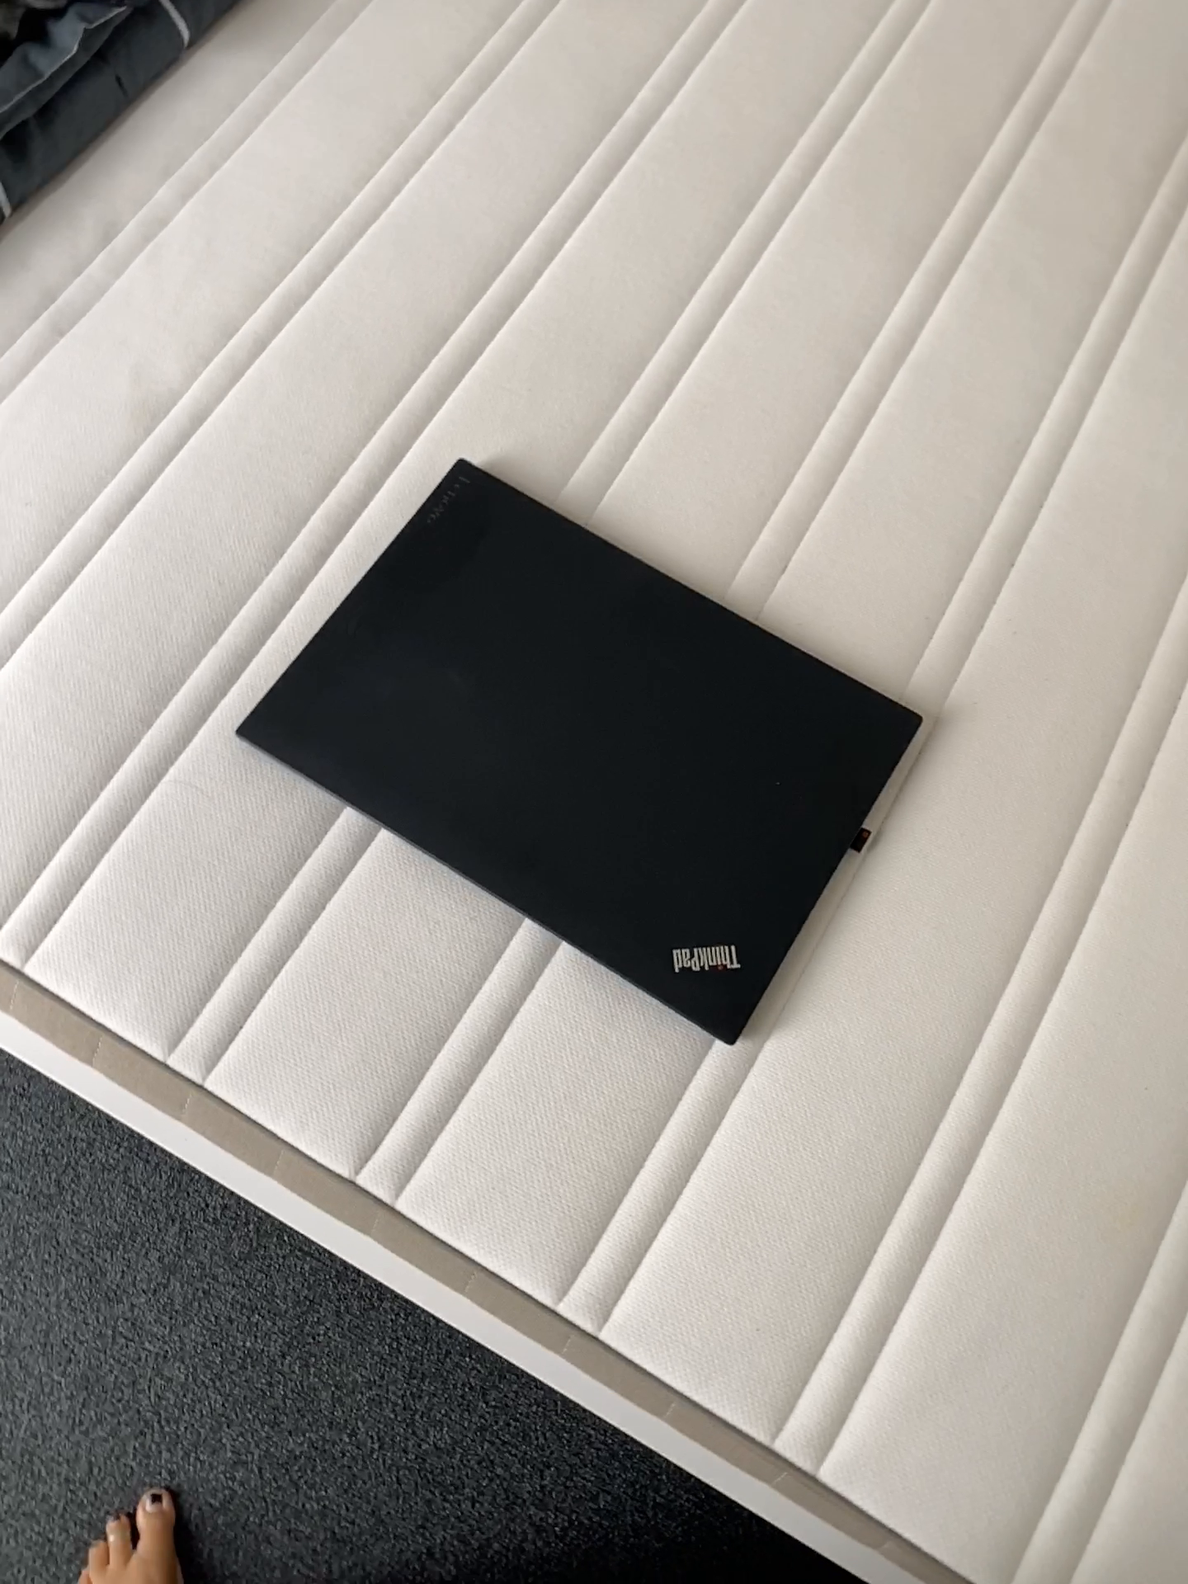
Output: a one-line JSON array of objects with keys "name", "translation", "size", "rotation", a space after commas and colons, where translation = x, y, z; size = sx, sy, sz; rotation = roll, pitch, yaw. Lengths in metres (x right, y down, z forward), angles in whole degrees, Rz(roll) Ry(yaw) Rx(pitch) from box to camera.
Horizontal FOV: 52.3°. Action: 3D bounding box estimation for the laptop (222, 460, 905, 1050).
[{"name": "laptop", "translation": [-0.014, -0.030, 0.617], "size": [0.288, 0.005, 0.193], "rotation": [31, 73, 8]}]
